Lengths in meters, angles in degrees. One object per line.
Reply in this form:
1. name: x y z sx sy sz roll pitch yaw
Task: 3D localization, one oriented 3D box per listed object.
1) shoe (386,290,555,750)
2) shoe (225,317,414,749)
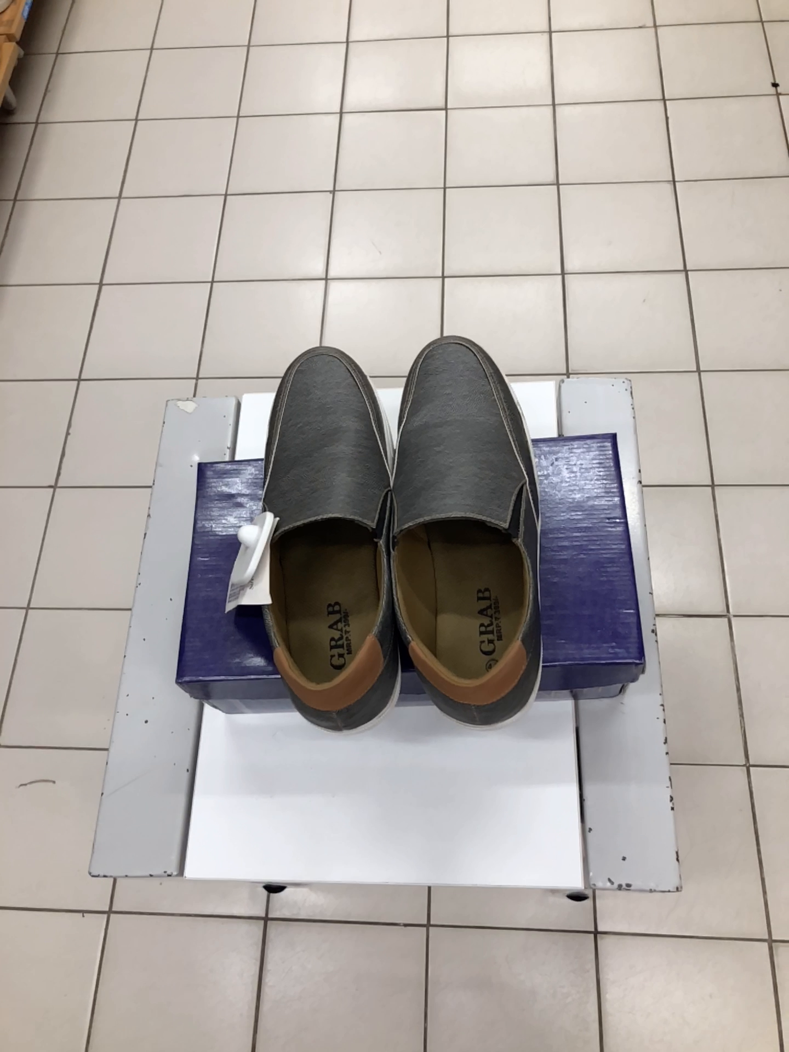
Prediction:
1. shoe: 0.053 -0.006 0.632 0.100 0.120 0.311 -2 66 6
2. shoe: -0.051 0.003 0.596 0.100 0.100 0.271 -6 65 4
